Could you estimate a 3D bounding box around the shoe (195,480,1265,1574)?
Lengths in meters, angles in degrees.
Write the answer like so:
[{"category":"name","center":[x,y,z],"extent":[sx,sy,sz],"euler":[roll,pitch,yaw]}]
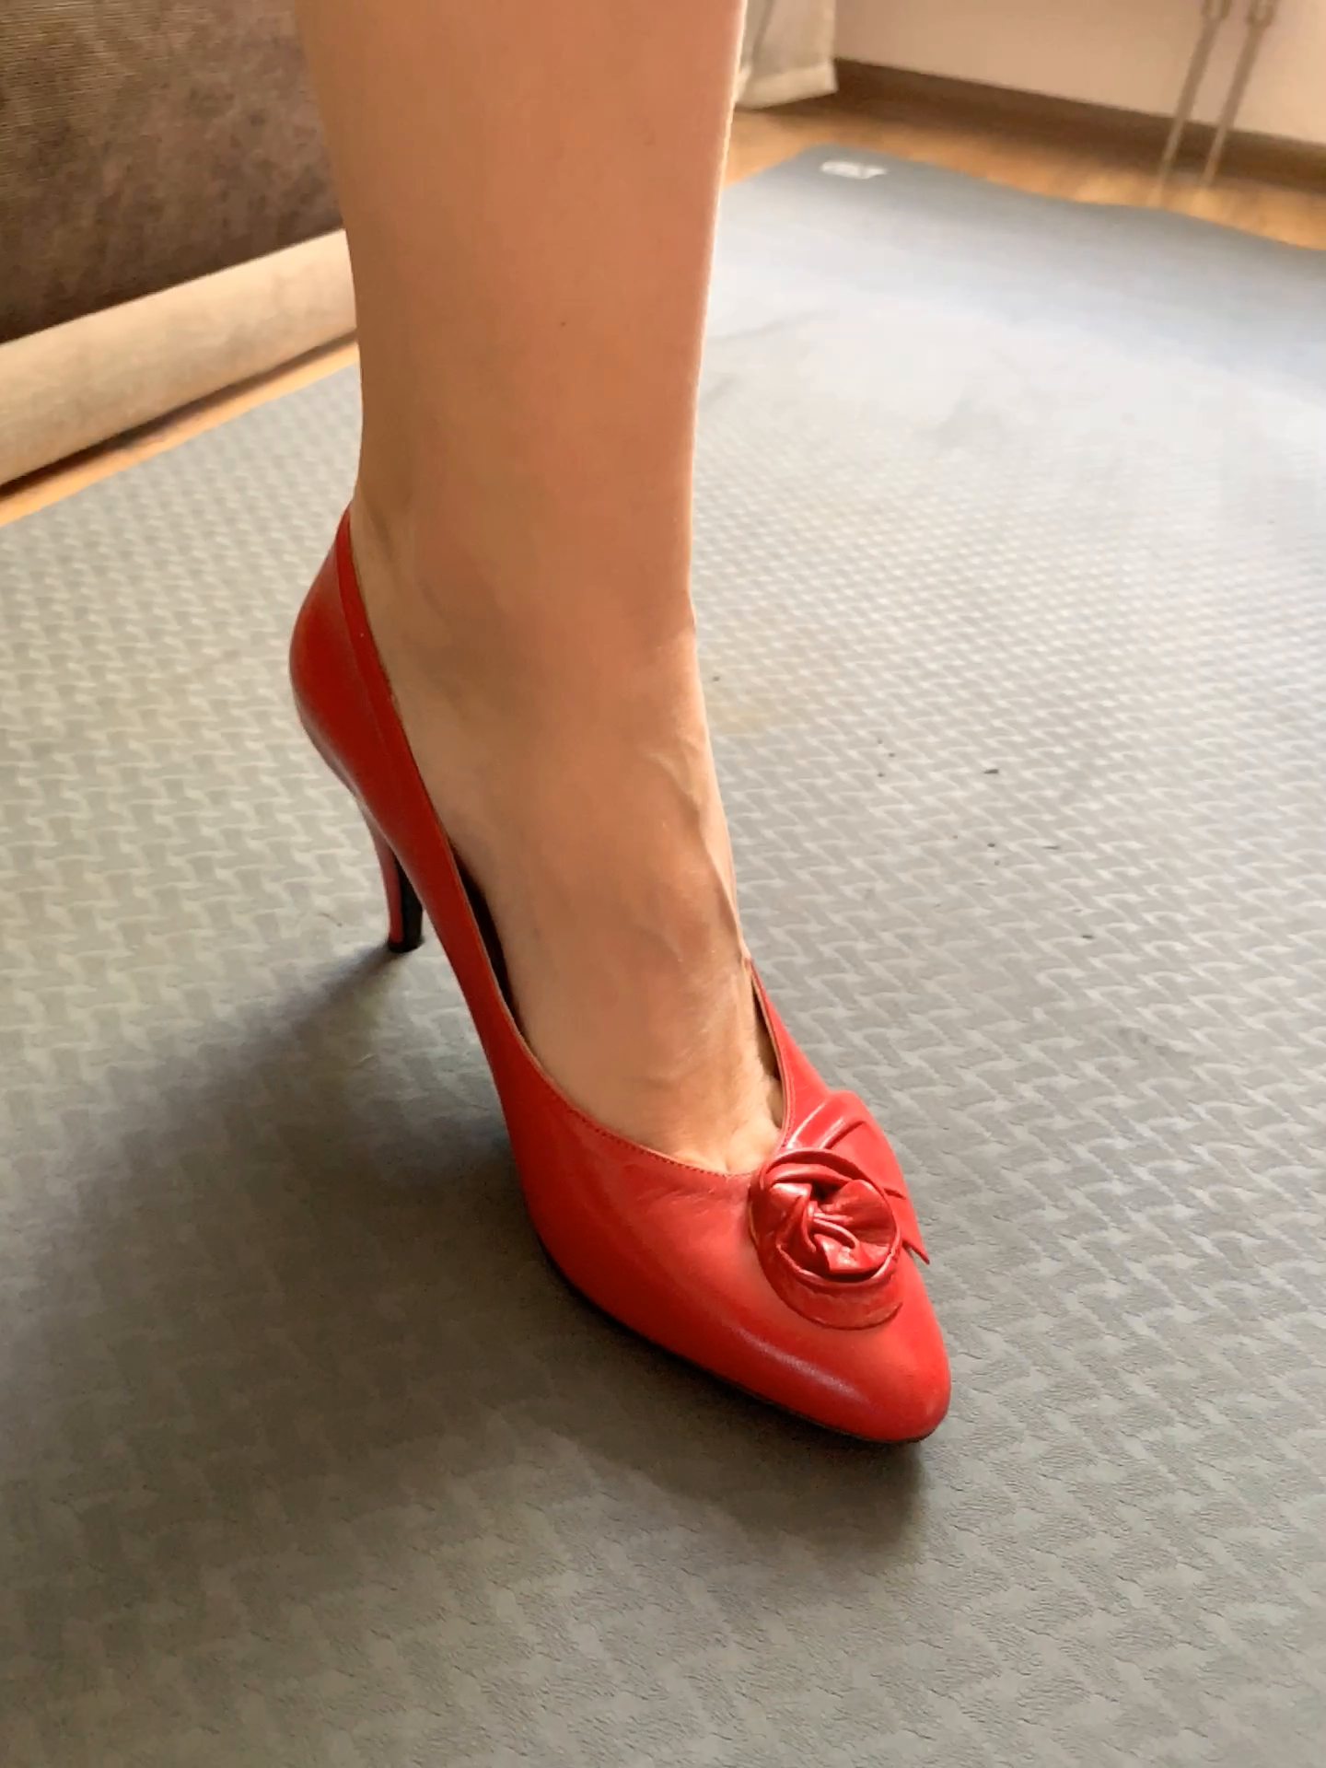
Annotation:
[{"category":"shoe","center":[-0.007,0.011,0.291],"extent":[0.080,0.109,0.211],"euler":[-24,48,-36]}]
